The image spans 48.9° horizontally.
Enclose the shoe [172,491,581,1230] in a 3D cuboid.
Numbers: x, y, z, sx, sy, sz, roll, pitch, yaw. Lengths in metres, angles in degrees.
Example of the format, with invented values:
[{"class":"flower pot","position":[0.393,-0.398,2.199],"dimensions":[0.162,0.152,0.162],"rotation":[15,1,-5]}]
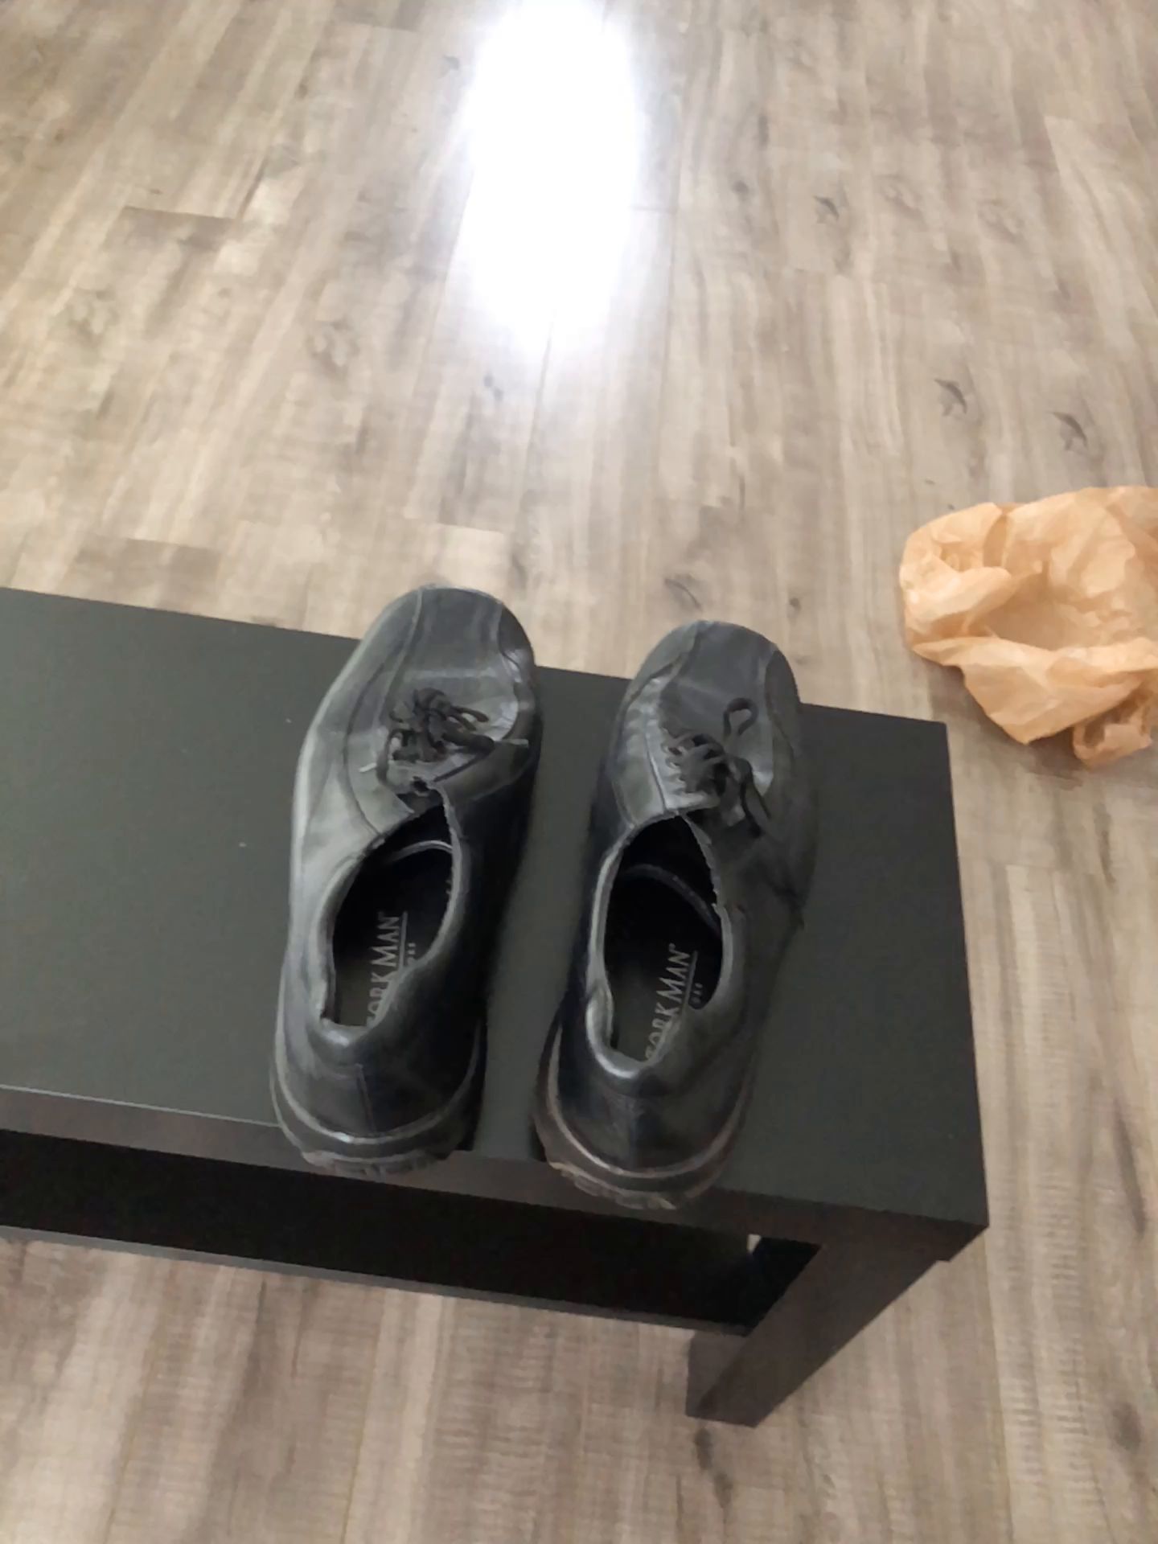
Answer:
[{"class":"shoe","position":[-0.069,0.025,0.530],"dimensions":[0.110,0.110,0.283],"rotation":[7,52,-2]}]

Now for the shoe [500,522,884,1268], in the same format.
[{"class":"shoe","position":[0.055,0.039,0.543],"dimensions":[0.110,0.110,0.286],"rotation":[12,52,2]}]
